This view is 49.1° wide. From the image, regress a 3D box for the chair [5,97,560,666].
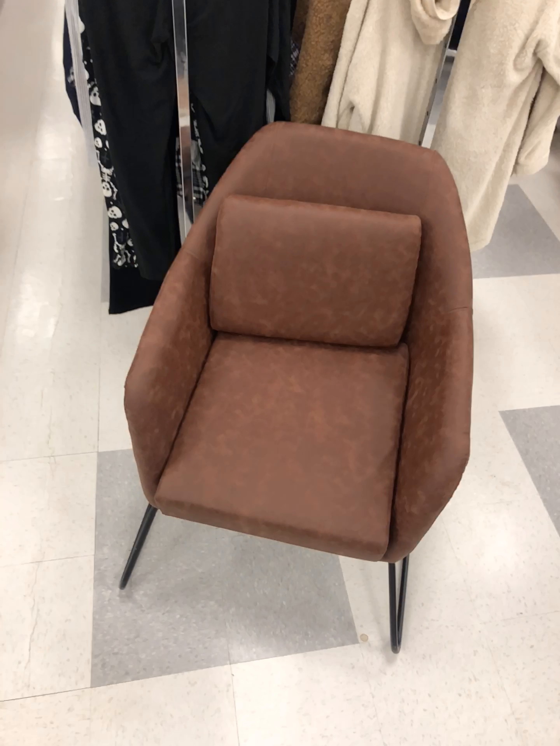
[{"bbox_3d":[0.044,0.040,1.351,0.734,0.850,0.763,11,50,5],"label":"chair"}]
